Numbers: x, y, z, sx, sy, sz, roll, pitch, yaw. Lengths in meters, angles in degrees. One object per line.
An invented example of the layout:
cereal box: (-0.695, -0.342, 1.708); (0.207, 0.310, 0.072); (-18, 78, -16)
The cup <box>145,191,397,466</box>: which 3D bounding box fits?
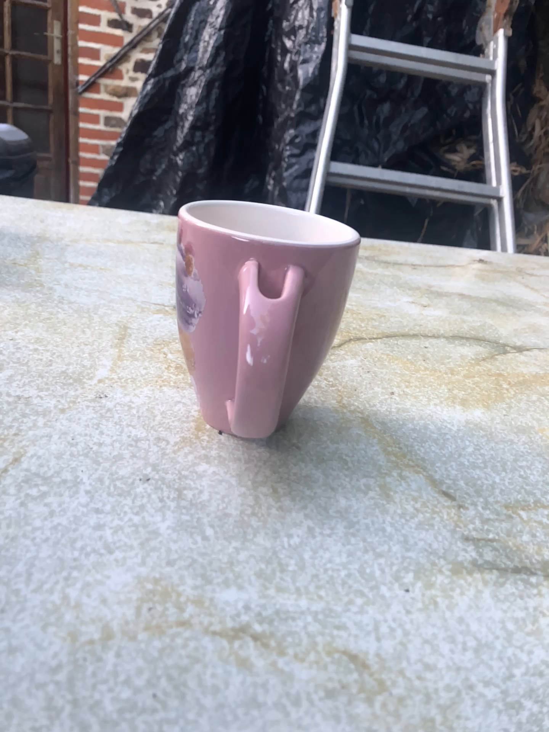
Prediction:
cup: (-0.002, -0.023, 0.258); (0.080, 0.080, 0.099); (8, 22, 0)
